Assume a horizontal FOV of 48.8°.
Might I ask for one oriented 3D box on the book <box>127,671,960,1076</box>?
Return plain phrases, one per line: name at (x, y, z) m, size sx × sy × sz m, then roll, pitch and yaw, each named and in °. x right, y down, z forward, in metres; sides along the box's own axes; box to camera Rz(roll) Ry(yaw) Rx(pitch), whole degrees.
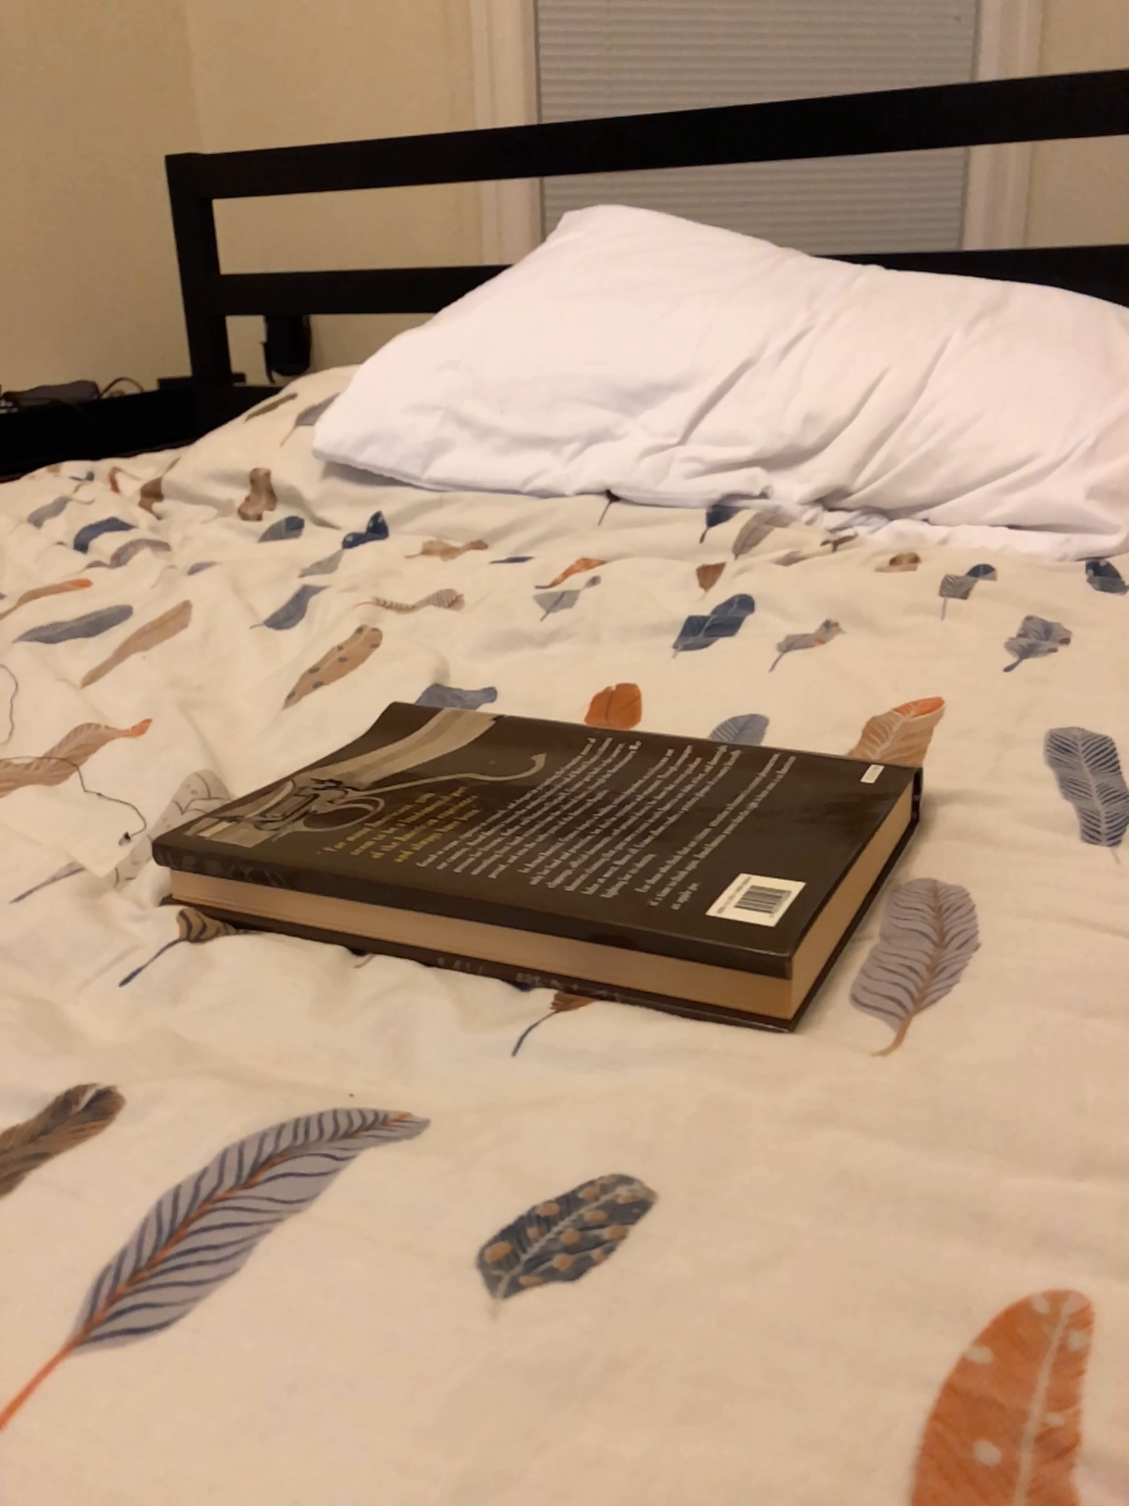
book at (0.000, 0.024, 0.448) m, size 0.240 × 0.030 × 0.181 m, roll 9°, pitch 24°, yaw 26°
